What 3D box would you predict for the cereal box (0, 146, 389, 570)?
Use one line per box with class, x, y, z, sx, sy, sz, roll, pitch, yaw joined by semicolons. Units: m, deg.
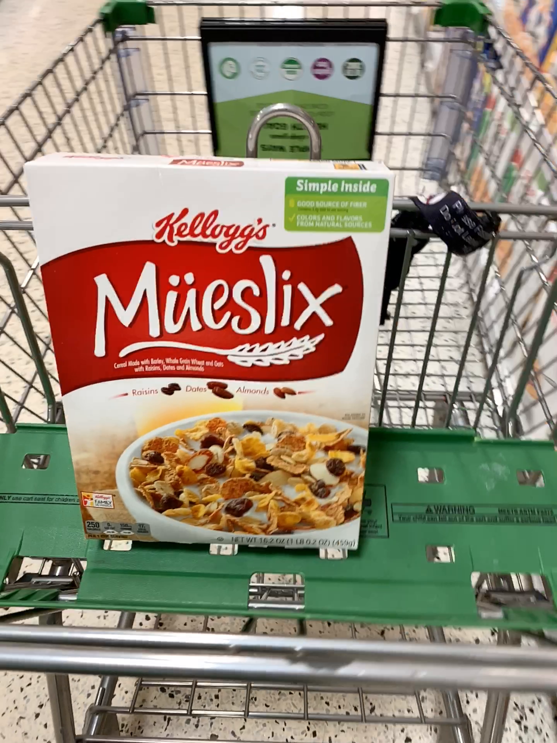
cereal box;-0.047;0.003;0.372;0.200;0.268;0.060;2;26;1
